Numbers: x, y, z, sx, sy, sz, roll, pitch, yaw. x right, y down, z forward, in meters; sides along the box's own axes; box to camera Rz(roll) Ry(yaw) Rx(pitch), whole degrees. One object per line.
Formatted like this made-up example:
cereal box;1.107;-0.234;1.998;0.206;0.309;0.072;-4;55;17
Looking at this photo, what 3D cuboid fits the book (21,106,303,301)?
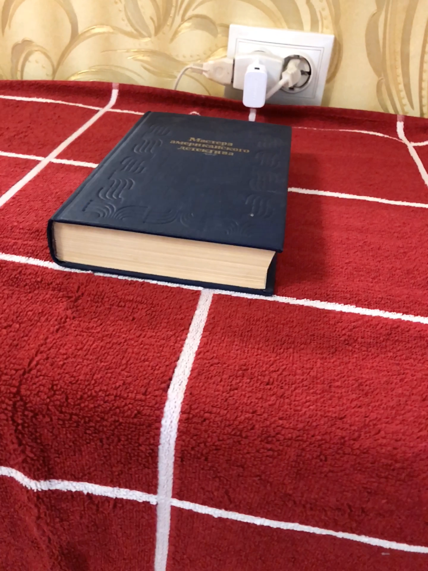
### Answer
book;-0.015;-0.071;0.322;0.143;0.030;0.194;8;37;5
